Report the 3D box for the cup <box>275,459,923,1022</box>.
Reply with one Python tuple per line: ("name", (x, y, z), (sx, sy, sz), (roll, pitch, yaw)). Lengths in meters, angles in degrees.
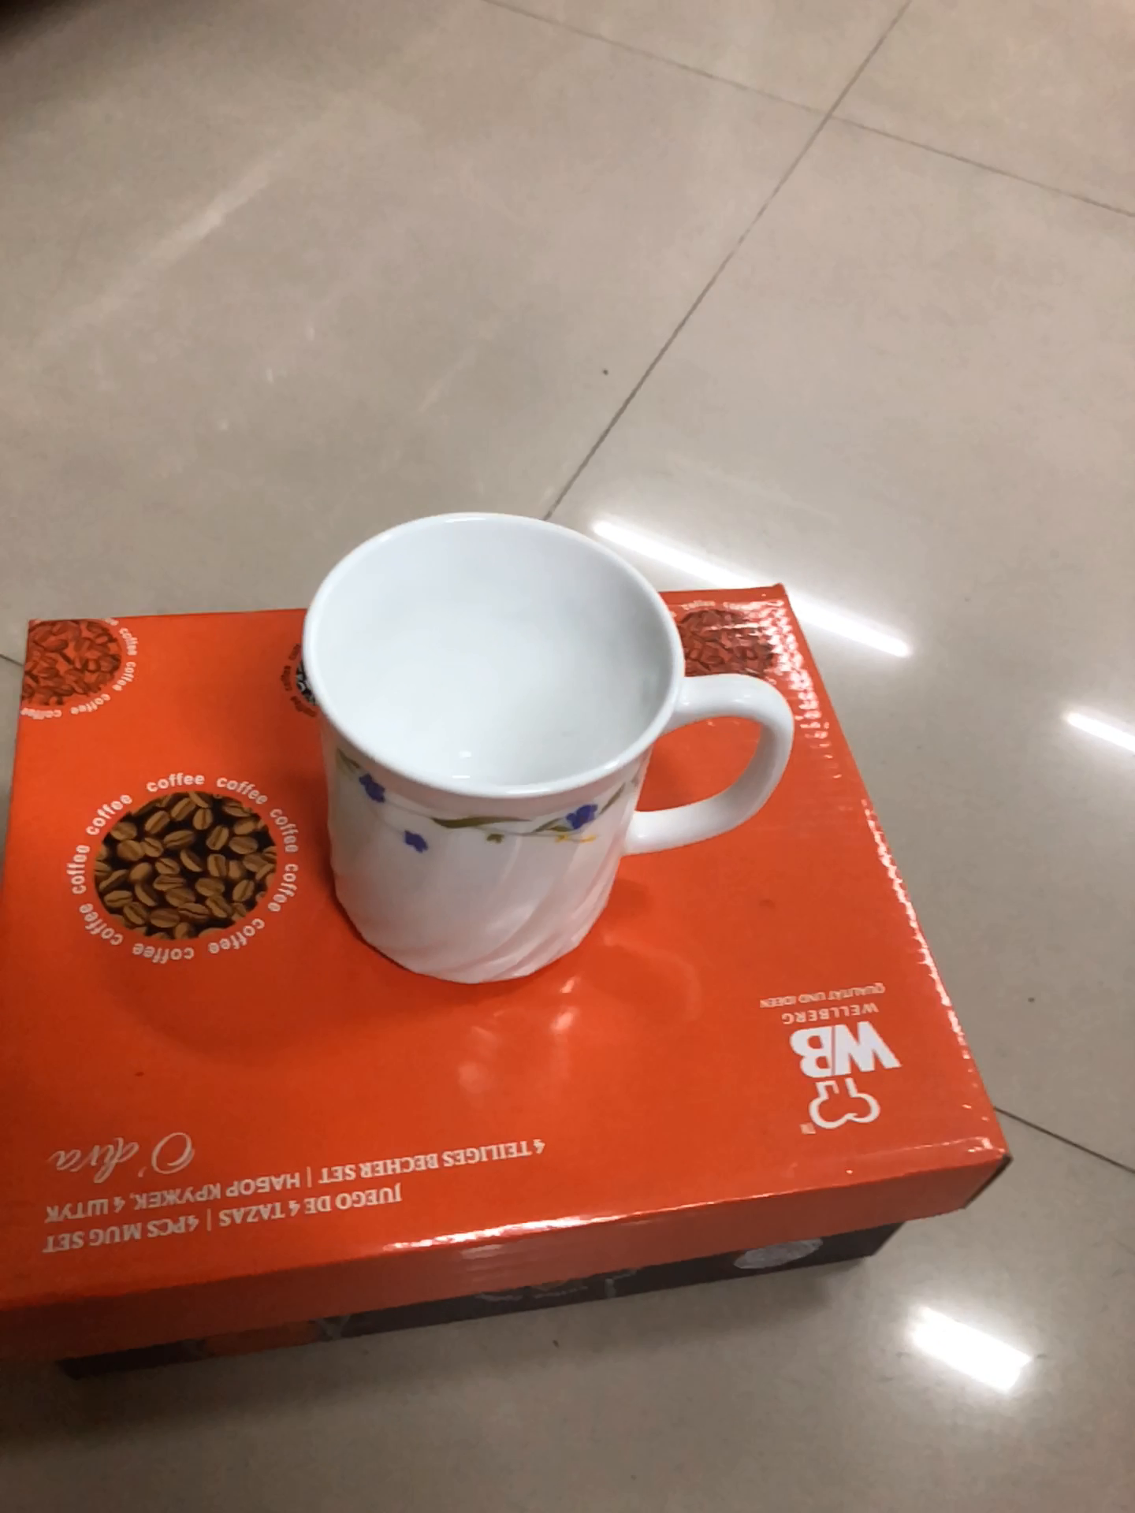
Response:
("cup", (0.001, 0.000, 0.294), (0.120, 0.090, 0.090), (2, 53, -6))
